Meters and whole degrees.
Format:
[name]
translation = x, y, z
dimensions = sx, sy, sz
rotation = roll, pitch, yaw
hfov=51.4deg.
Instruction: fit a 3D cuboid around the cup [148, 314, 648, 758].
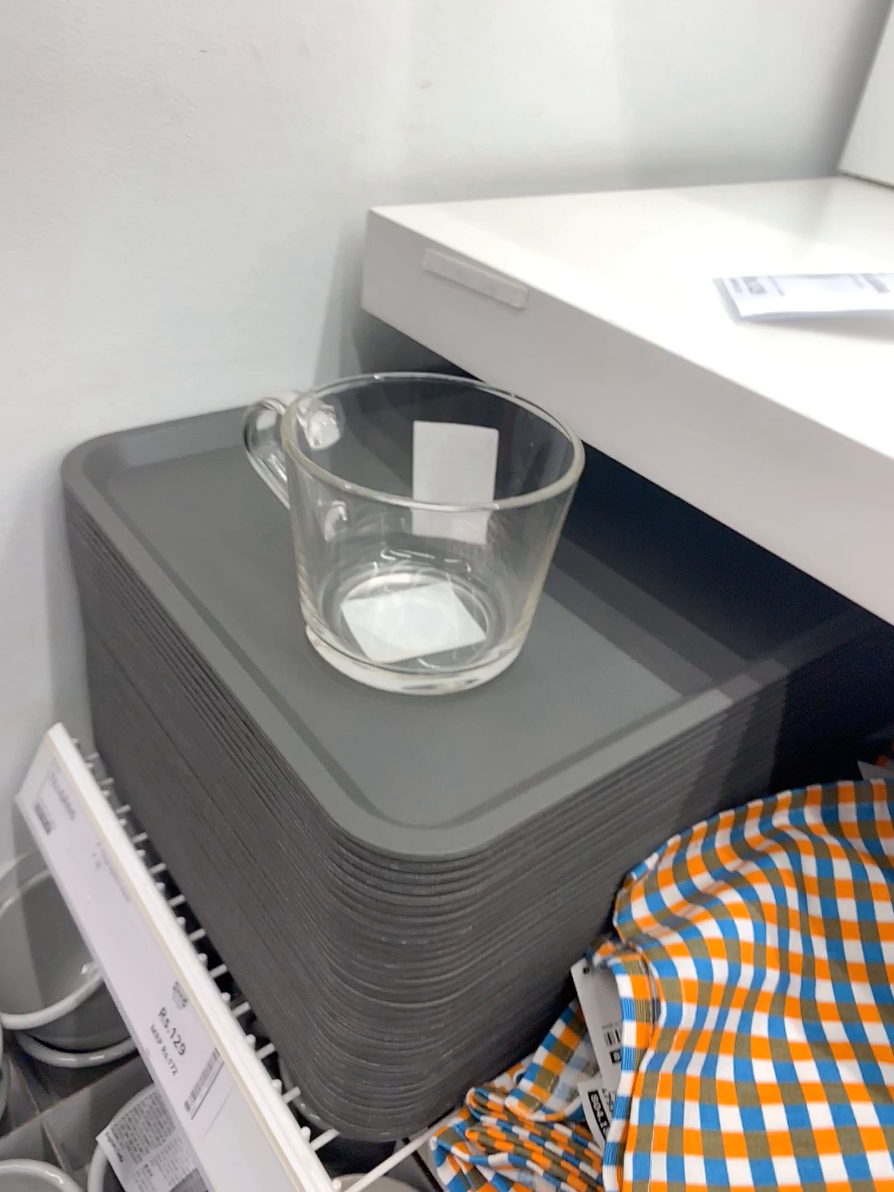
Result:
[cup]
translation = -0.021, -0.031, 0.324
dimensions = 0.130, 0.080, 0.100
rotation = 32, 41, 30
